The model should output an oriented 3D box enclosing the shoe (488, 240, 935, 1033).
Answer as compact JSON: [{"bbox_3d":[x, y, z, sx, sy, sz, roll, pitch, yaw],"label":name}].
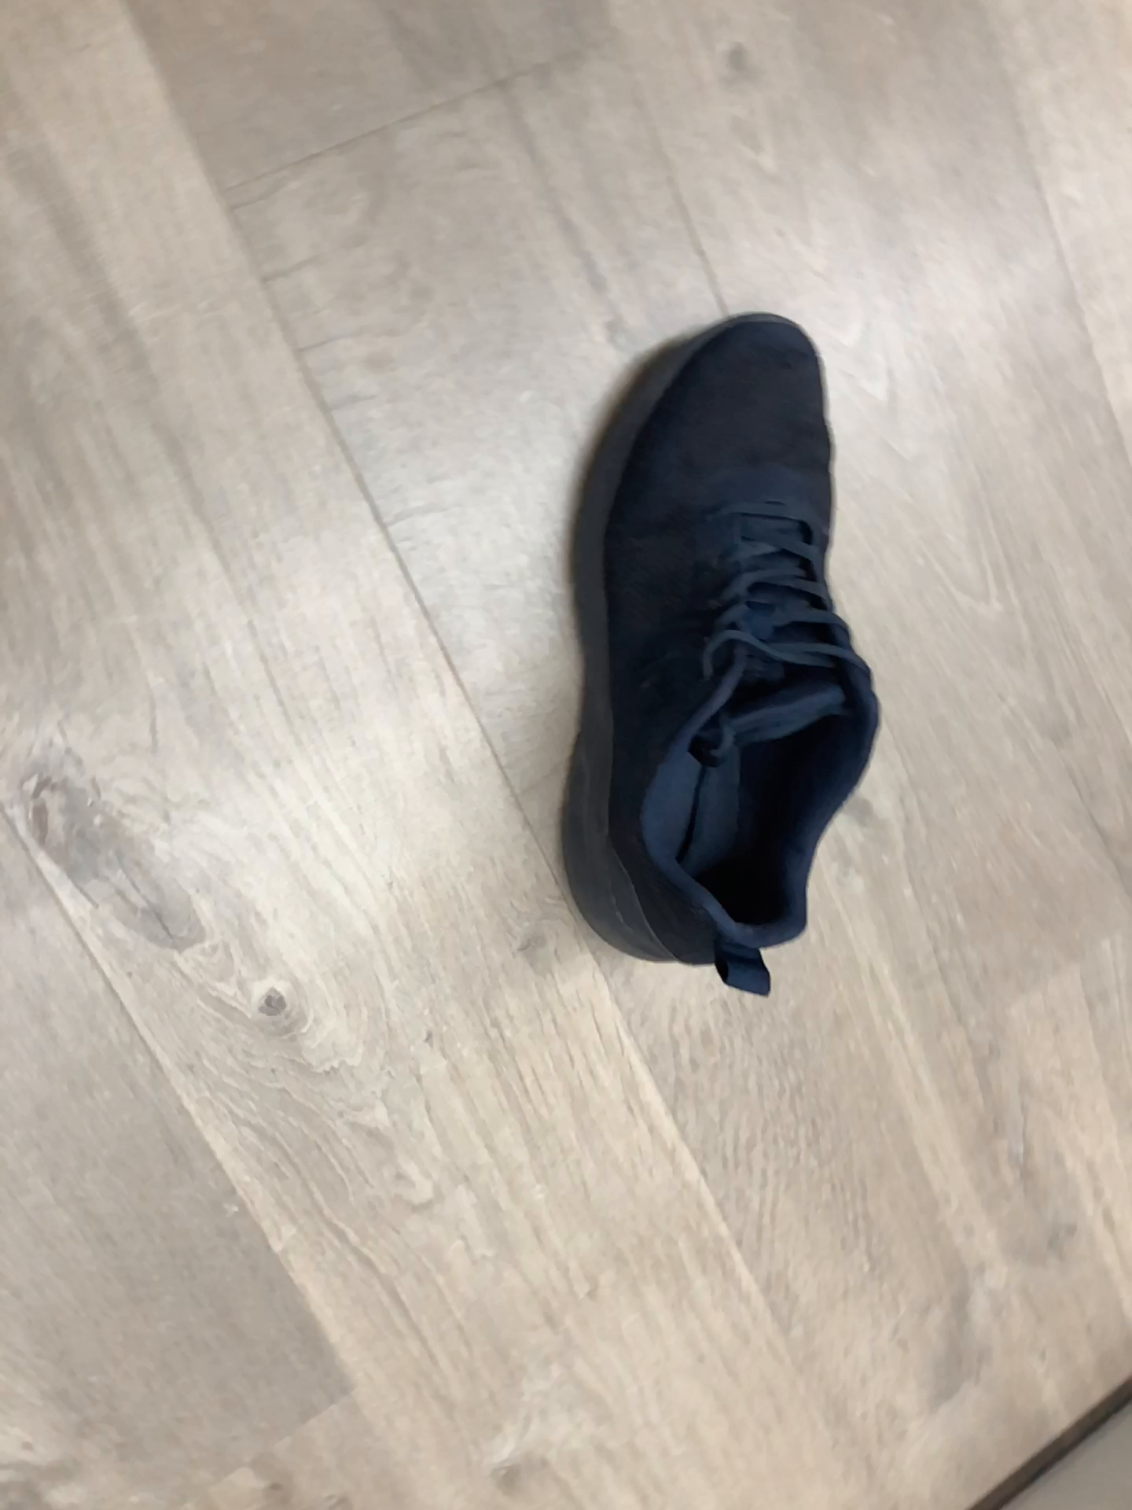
[{"bbox_3d":[0.055,-0.044,0.530,0.100,0.110,0.290,9,93,-20],"label":"shoe"}]
